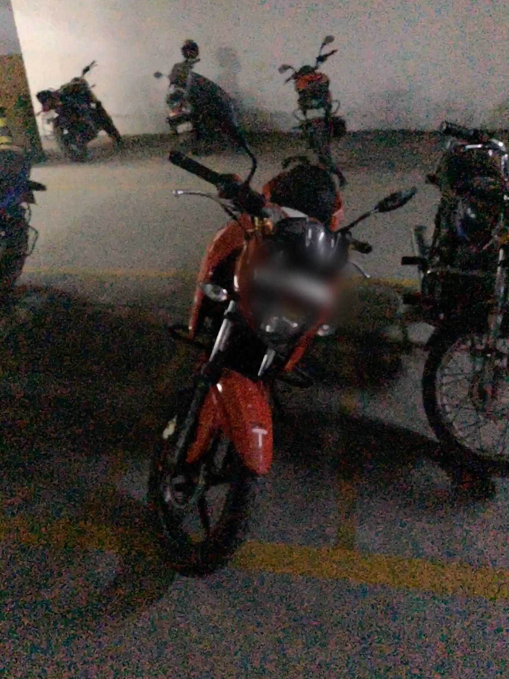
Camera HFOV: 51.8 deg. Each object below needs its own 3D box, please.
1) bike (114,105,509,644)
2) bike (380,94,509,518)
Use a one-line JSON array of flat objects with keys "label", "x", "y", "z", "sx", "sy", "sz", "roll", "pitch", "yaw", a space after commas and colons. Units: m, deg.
[{"label": "bike", "x": 0.205, "y": -0.124, "z": 1.915, "sx": 0.801, "sy": 1.007, "sz": 1.701, "roll": 1, "pitch": 34, "yaw": 6}, {"label": "bike", "x": 0.967, "y": -0.320, "z": 2.042, "sx": 0.673, "sy": 0.934, "sz": 1.573, "roll": 1, "pitch": 32, "yaw": 6}]
